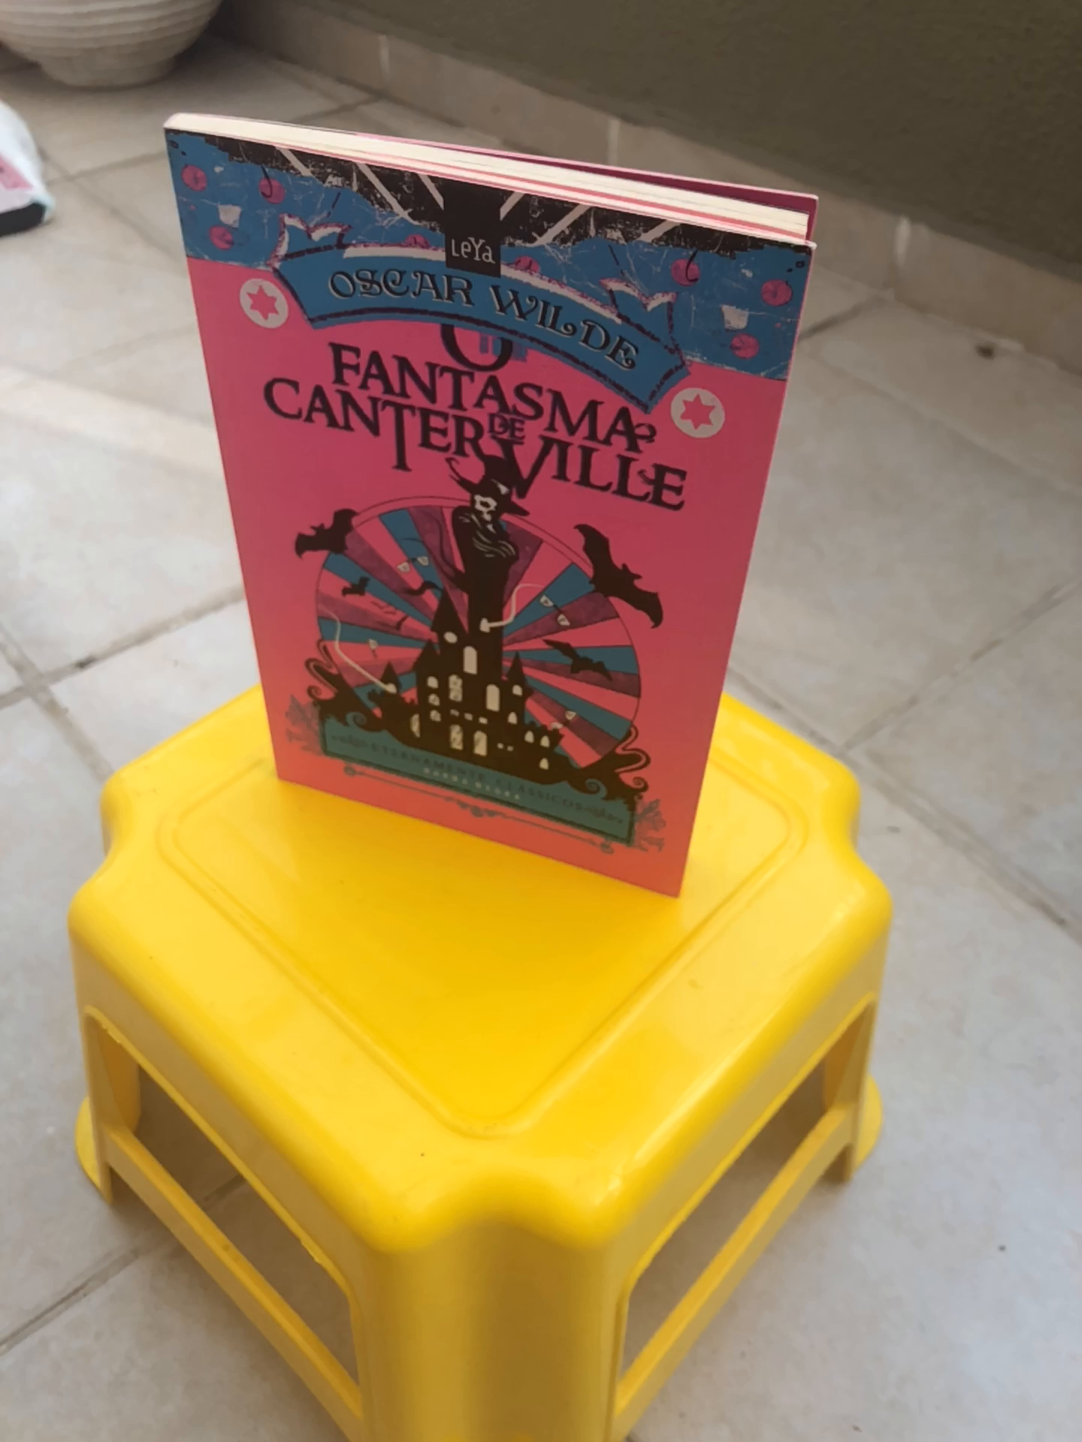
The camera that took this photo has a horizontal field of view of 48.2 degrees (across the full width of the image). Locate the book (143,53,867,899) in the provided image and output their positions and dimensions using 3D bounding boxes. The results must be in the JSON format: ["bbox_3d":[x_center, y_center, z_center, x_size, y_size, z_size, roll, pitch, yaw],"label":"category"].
[{"bbox_3d":[-0.012,-0.047,0.324,0.150,0.219,0.020,15,47,13],"label":"book"}]
